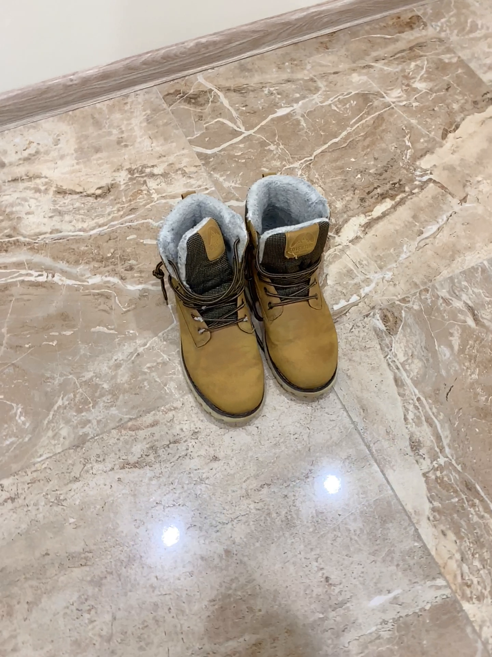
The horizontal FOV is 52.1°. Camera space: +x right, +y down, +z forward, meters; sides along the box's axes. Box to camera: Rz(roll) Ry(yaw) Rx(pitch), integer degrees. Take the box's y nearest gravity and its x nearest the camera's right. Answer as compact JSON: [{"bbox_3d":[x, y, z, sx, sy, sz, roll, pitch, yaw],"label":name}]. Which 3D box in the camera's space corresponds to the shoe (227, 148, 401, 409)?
[{"bbox_3d":[0.066,-0.064,0.636,0.120,0.140,0.281,-11,66,-8],"label":"shoe"}]

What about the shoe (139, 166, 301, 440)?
[{"bbox_3d":[-0.040,-0.030,0.626,0.120,0.160,0.281,-11,66,-8],"label":"shoe"}]
